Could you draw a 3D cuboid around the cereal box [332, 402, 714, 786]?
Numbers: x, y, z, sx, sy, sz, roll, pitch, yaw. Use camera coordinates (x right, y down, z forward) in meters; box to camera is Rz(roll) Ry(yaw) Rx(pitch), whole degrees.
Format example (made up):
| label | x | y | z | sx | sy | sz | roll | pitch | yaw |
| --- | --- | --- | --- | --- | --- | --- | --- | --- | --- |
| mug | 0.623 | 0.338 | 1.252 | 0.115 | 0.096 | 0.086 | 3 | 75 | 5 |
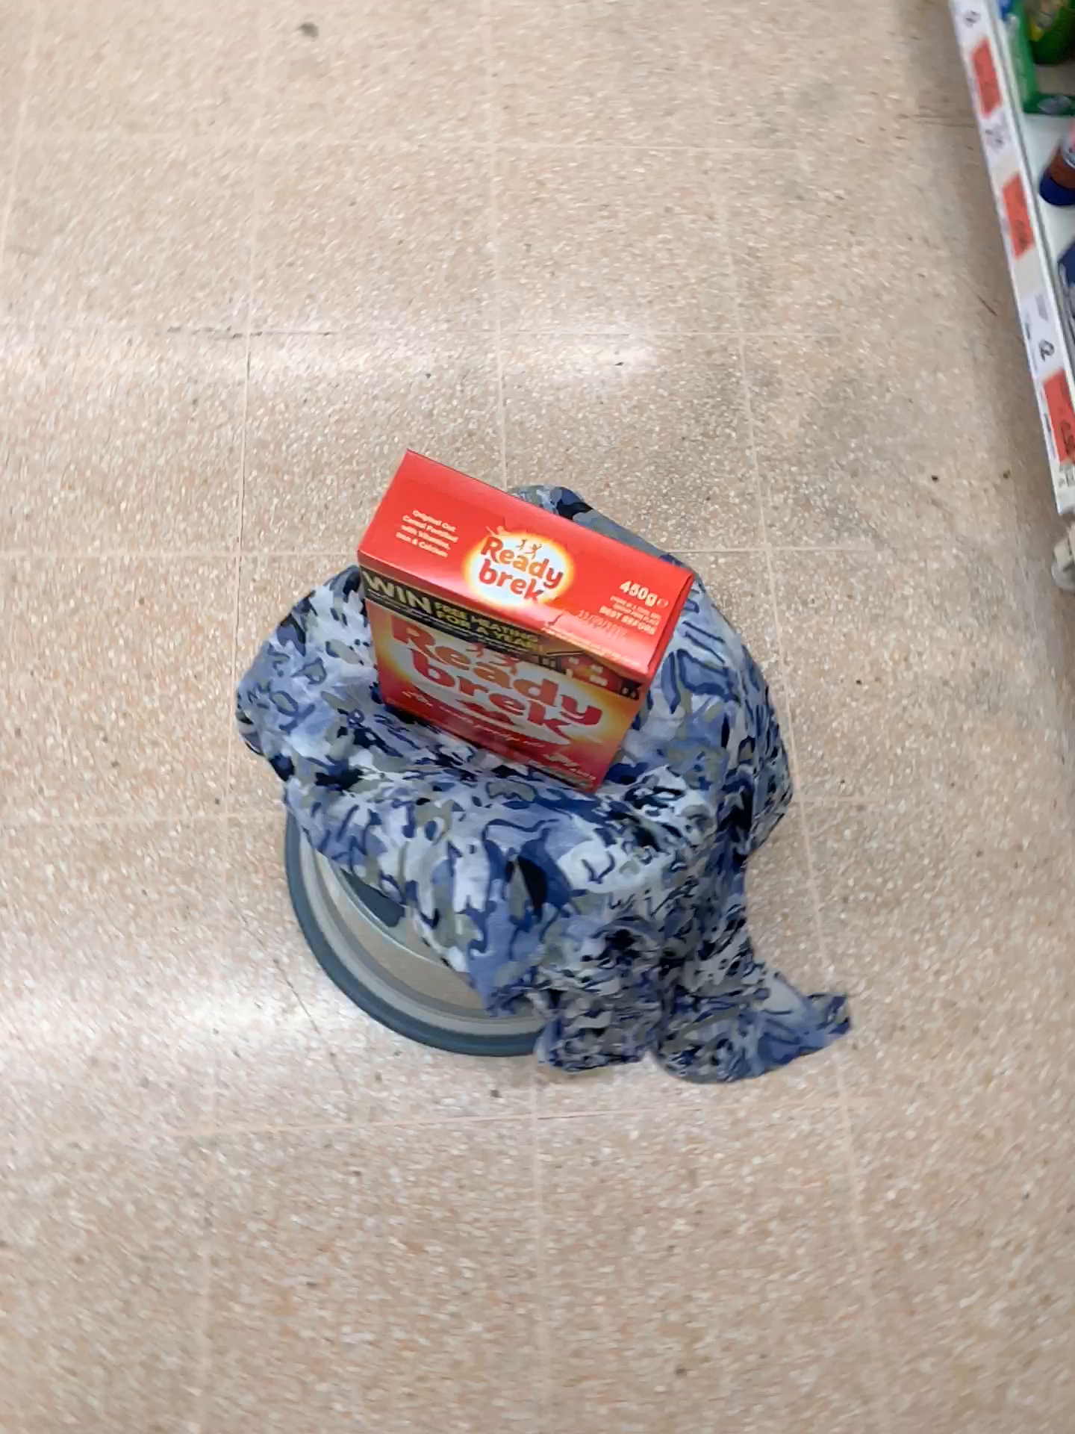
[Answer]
| label | x | y | z | sx | sy | sz | roll | pitch | yaw |
| --- | --- | --- | --- | --- | --- | --- | --- | --- | --- |
| cereal box | -0.015 | -0.053 | 0.626 | 0.170 | 0.239 | 0.060 | 25 | 71 | 4 |
